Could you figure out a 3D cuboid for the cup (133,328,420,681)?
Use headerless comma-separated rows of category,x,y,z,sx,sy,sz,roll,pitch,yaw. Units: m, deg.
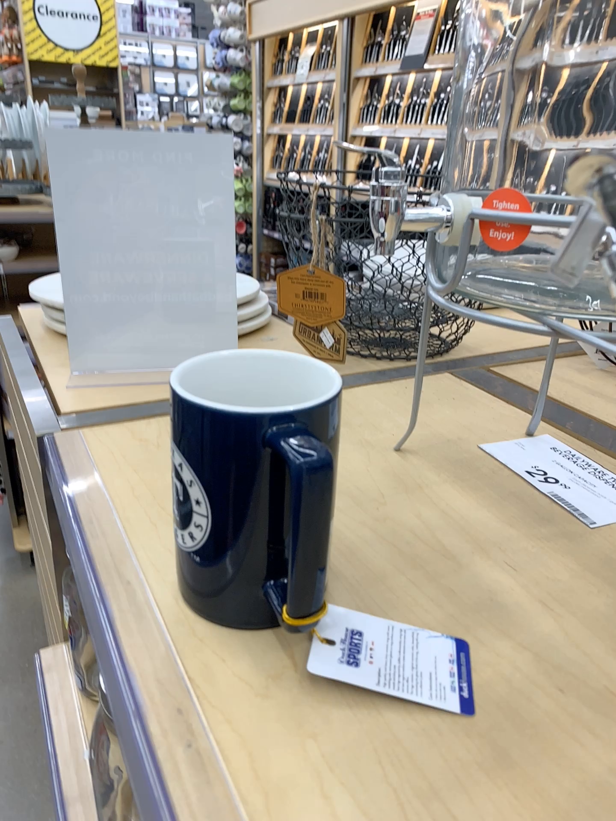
cup,-0.025,0.035,0.329,0.096,0.121,0.124,-8,25,-27
